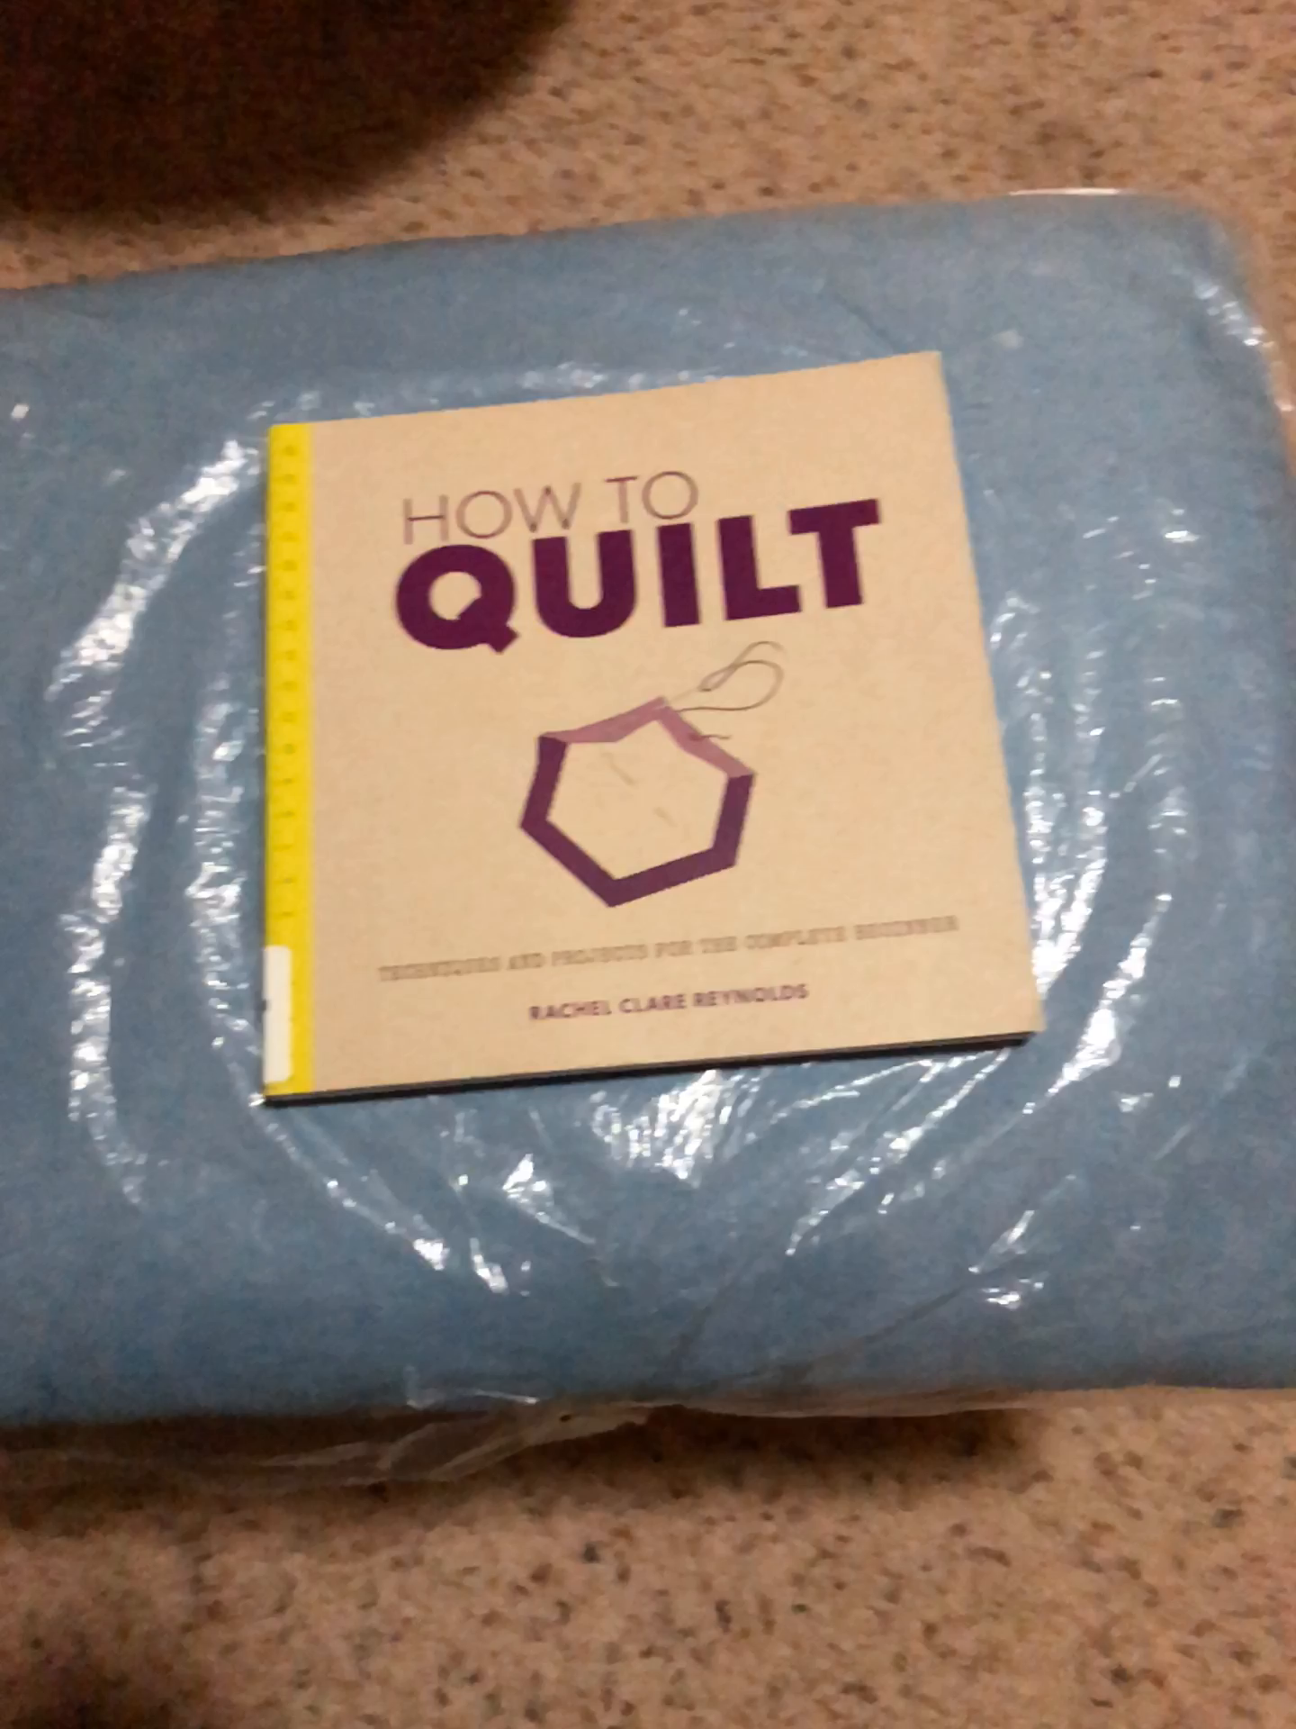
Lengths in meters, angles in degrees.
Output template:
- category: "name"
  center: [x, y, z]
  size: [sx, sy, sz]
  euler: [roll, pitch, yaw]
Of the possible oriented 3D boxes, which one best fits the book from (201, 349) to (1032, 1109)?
- category: "book"
  center: [-0.015, -0.040, 0.393]
  size: [0.207, 0.020, 0.194]
  euler: [-5, 74, 4]
